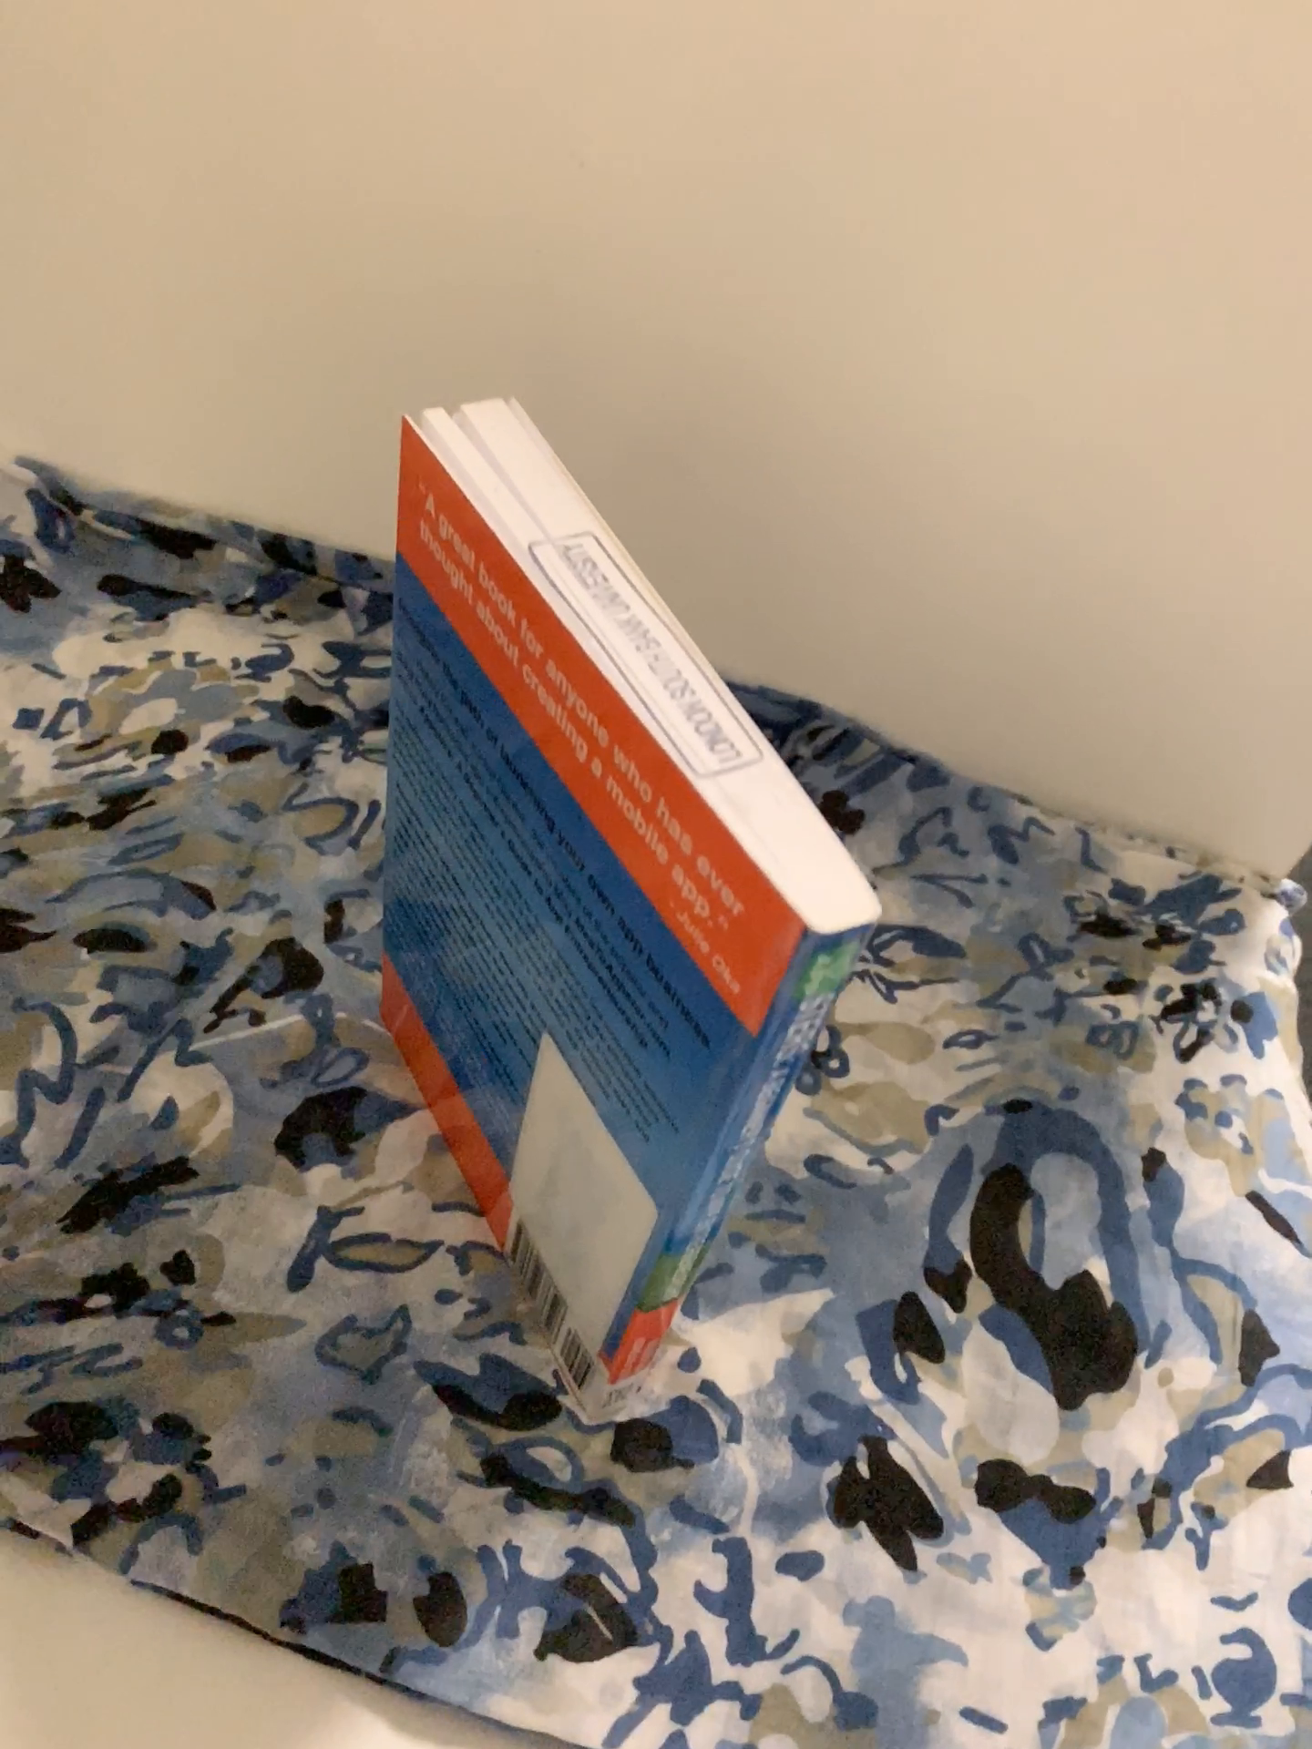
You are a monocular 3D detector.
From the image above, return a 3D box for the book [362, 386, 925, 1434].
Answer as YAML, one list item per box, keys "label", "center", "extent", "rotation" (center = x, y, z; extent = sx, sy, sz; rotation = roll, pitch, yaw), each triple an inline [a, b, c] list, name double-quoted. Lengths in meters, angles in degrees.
- label: "book"
  center: [-0.025, 0.022, 0.304]
  extent: [0.024, 0.203, 0.141]
  rotation: [-19, 57, -27]
